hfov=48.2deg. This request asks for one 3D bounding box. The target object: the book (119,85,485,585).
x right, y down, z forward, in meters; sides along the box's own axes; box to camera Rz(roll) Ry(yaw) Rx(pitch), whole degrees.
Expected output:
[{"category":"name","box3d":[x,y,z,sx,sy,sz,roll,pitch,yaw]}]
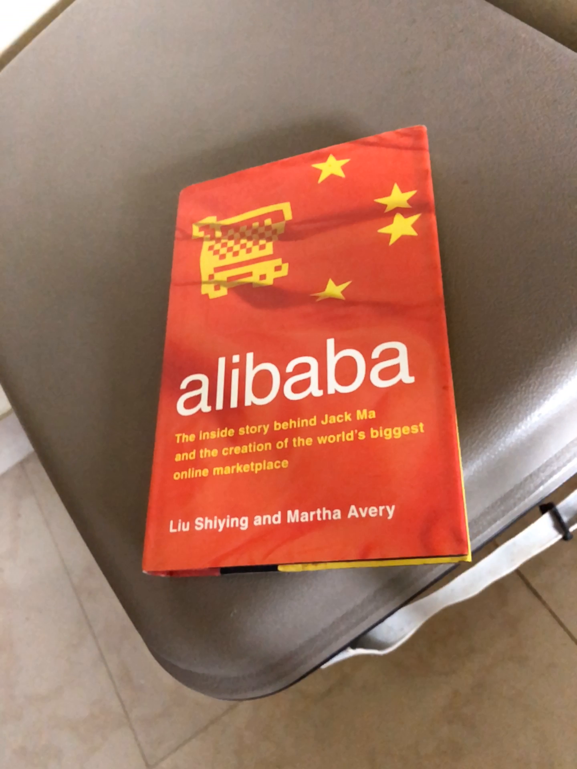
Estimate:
[{"category":"book","box3d":[0.004,-0.034,0.347,0.160,0.040,0.260,-8,64,15]}]
